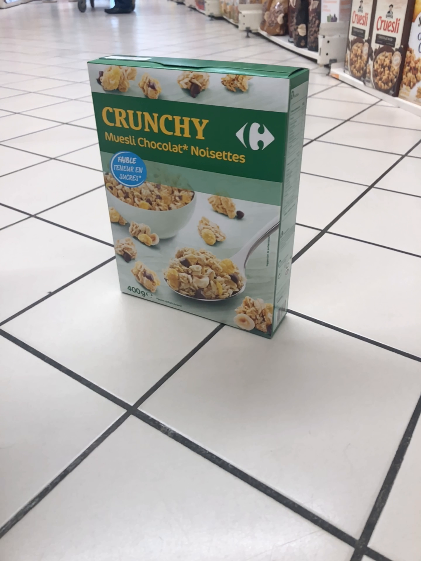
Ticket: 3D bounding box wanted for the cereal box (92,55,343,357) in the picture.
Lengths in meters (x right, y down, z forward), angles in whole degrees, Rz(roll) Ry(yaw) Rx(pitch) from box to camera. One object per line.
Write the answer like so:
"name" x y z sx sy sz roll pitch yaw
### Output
"cereal box" 0.003 -0.071 0.444 0.200 0.249 0.060 16 36 25
